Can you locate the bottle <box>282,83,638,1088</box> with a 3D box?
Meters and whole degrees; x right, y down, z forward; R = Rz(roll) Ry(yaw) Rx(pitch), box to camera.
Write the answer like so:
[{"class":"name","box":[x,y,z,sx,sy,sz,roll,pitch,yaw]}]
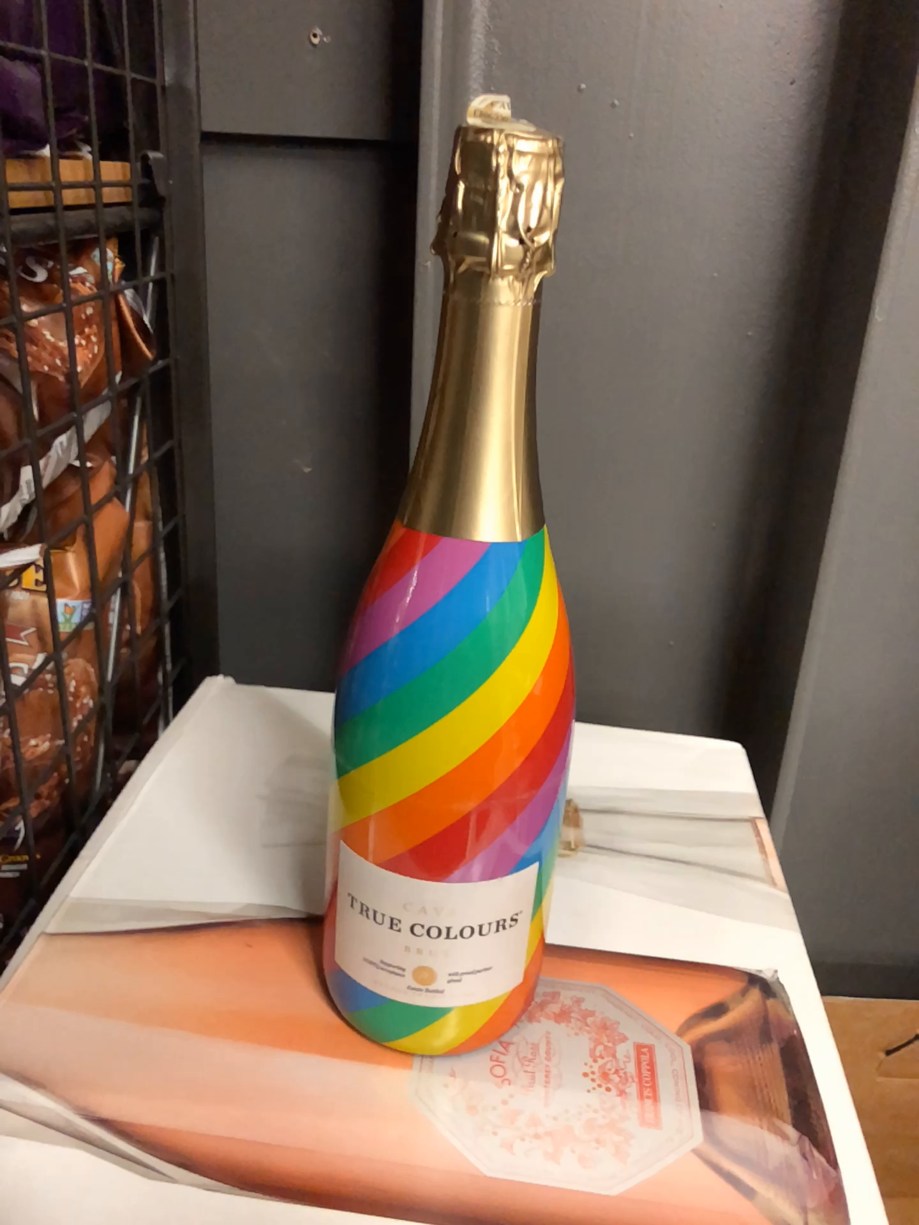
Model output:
[{"class":"bottle","box":[-0.003,0.003,0.350,0.088,0.319,0.088,3,22,-1]}]
